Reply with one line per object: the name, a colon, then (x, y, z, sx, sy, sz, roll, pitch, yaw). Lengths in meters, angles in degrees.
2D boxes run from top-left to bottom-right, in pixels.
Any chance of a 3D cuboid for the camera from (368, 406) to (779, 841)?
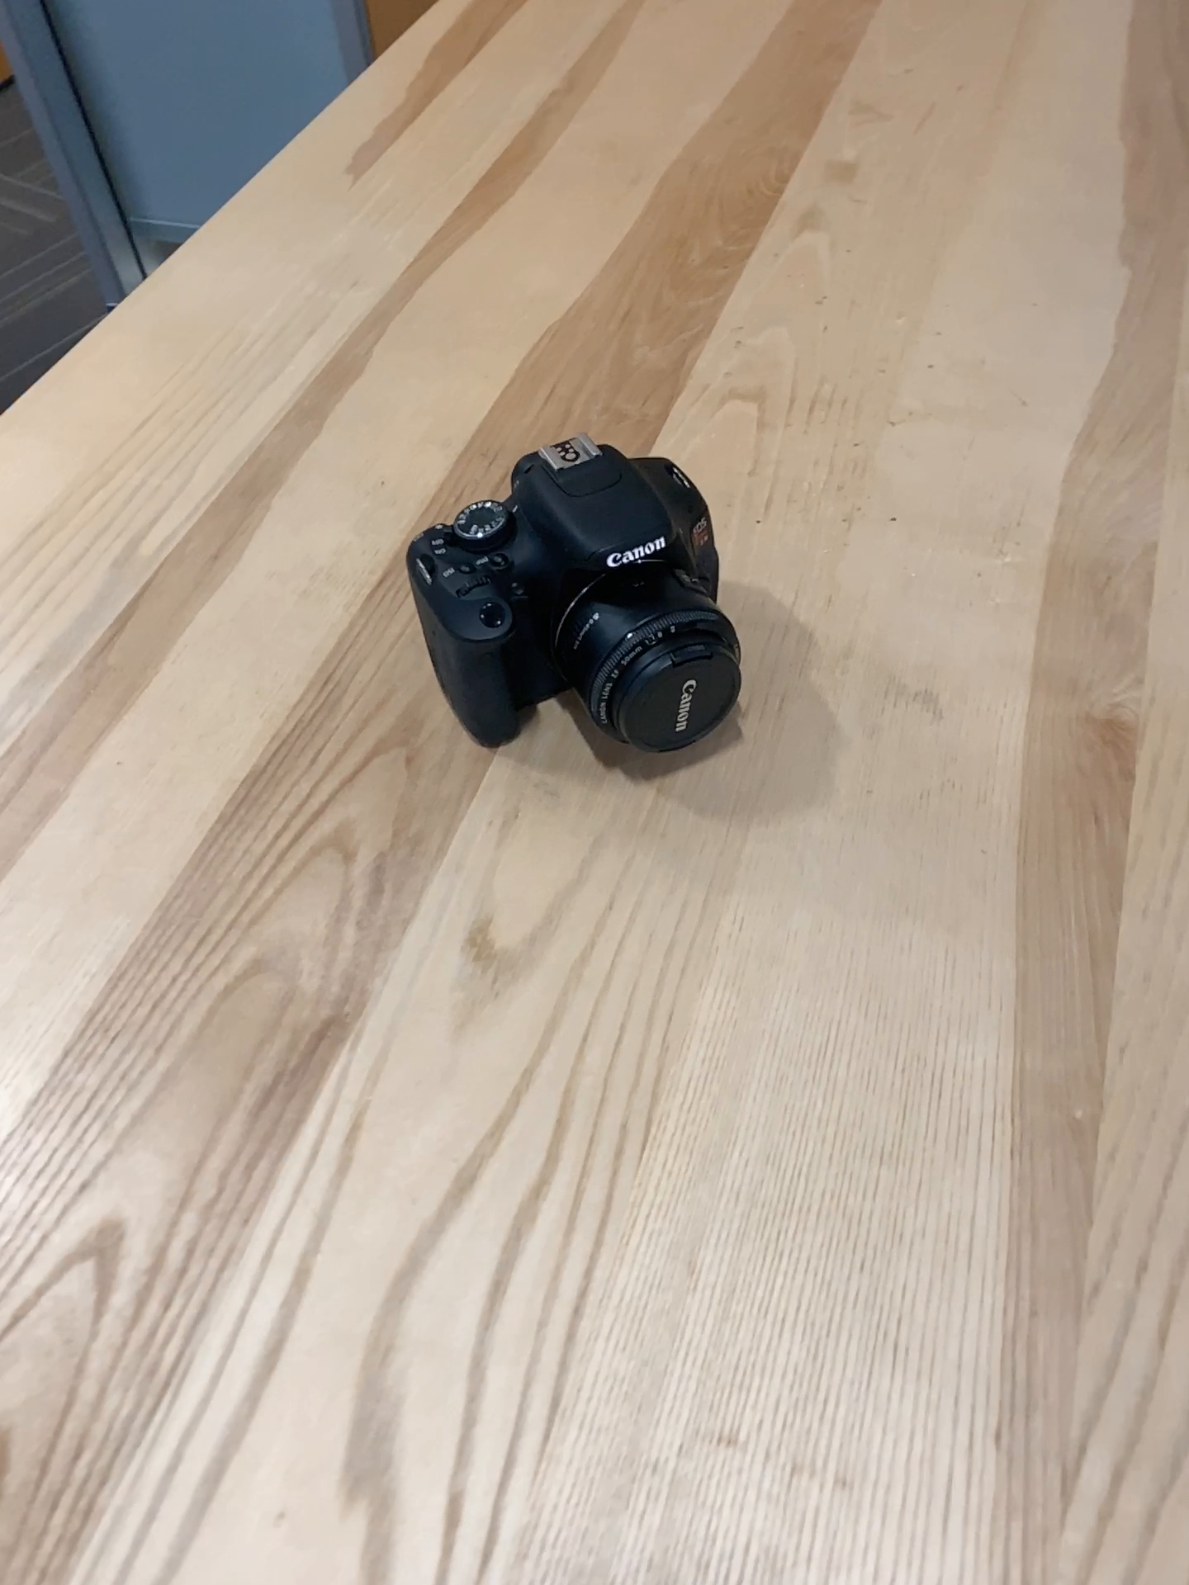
camera: (-0.008, -0.071, 0.497, 0.120, 0.094, 0.112, -23, 53, -13)
